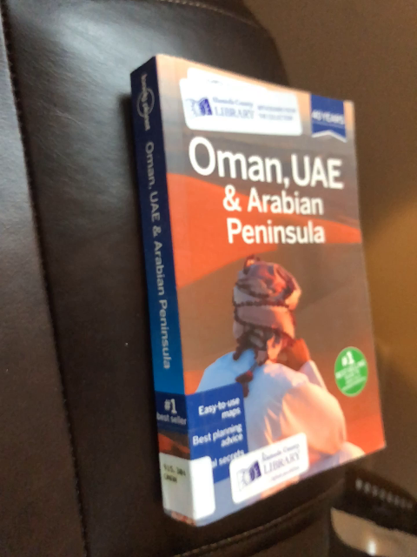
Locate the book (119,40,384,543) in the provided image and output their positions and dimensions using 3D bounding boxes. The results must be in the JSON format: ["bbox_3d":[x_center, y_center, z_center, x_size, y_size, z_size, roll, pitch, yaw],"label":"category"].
[{"bbox_3d":[0.031,0.002,0.244,0.138,0.030,0.203,-4,89,-38],"label":"book"}]
